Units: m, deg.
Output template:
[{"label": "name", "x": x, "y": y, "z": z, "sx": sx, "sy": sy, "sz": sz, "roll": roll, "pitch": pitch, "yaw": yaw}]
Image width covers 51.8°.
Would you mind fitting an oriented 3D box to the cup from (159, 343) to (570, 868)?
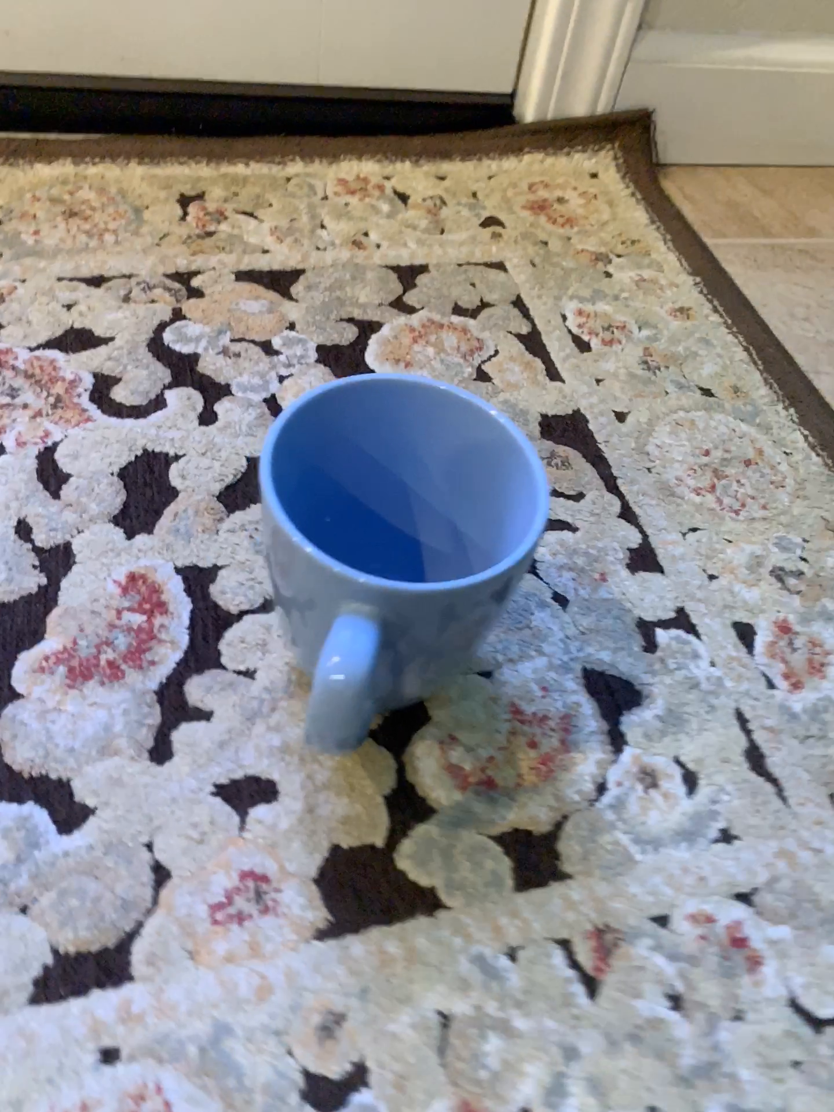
[{"label": "cup", "x": -0.011, "y": 0.014, "z": 0.272, "sx": 0.090, "sy": 0.089, "sz": 0.121, "roll": 13, "pitch": 50, "yaw": 1}]
